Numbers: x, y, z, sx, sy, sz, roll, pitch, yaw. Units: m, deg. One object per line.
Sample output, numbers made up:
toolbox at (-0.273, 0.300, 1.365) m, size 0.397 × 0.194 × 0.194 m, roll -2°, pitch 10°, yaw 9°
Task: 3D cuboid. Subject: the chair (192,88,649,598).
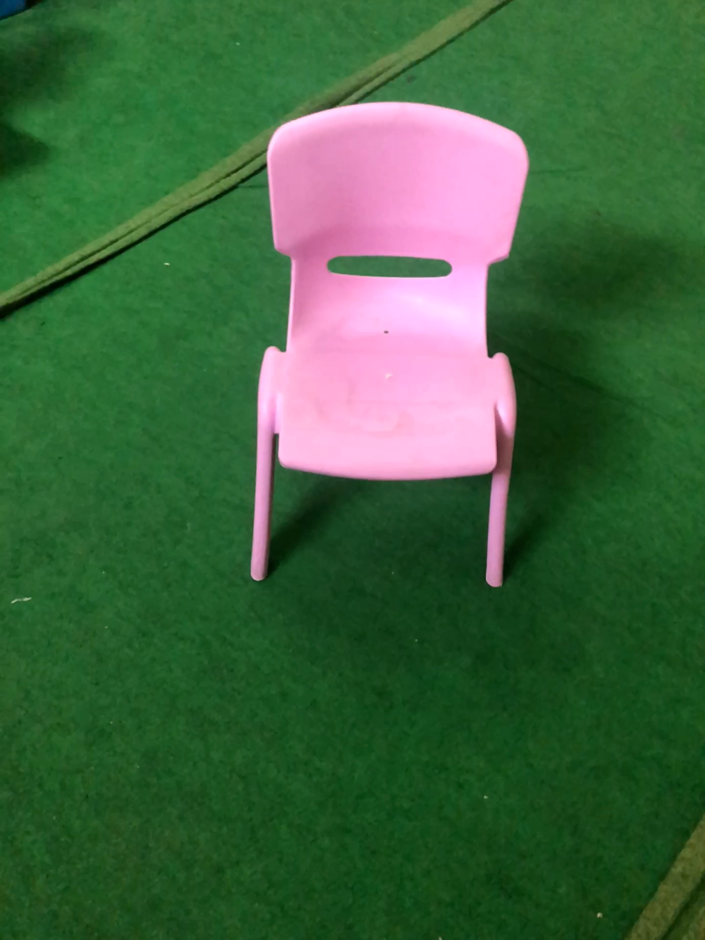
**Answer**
chair at (0.045, -0.130, 0.943) m, size 0.380 × 0.449 × 0.411 m, roll 0°, pitch 56°, yaw -3°
